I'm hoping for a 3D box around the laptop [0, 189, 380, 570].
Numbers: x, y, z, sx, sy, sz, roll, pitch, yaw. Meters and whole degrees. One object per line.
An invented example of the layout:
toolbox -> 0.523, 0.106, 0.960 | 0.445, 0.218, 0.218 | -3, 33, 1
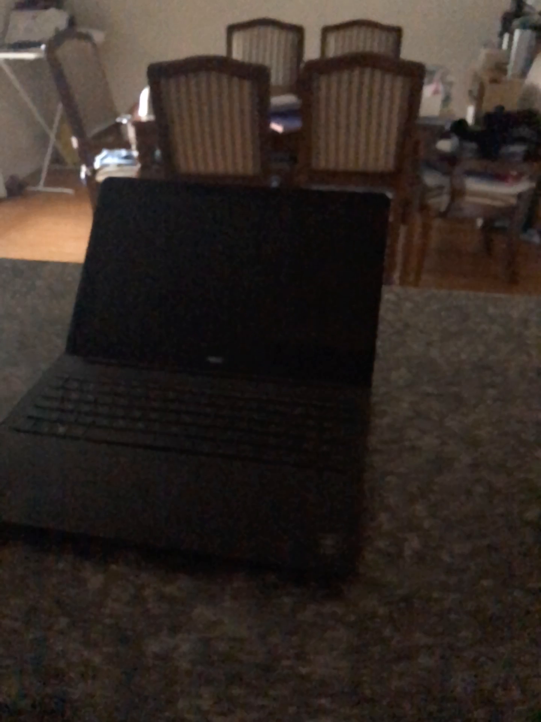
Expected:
laptop -> -0.082, -0.030, 0.630 | 0.361, 0.158, 0.416 | 6, 33, 9
